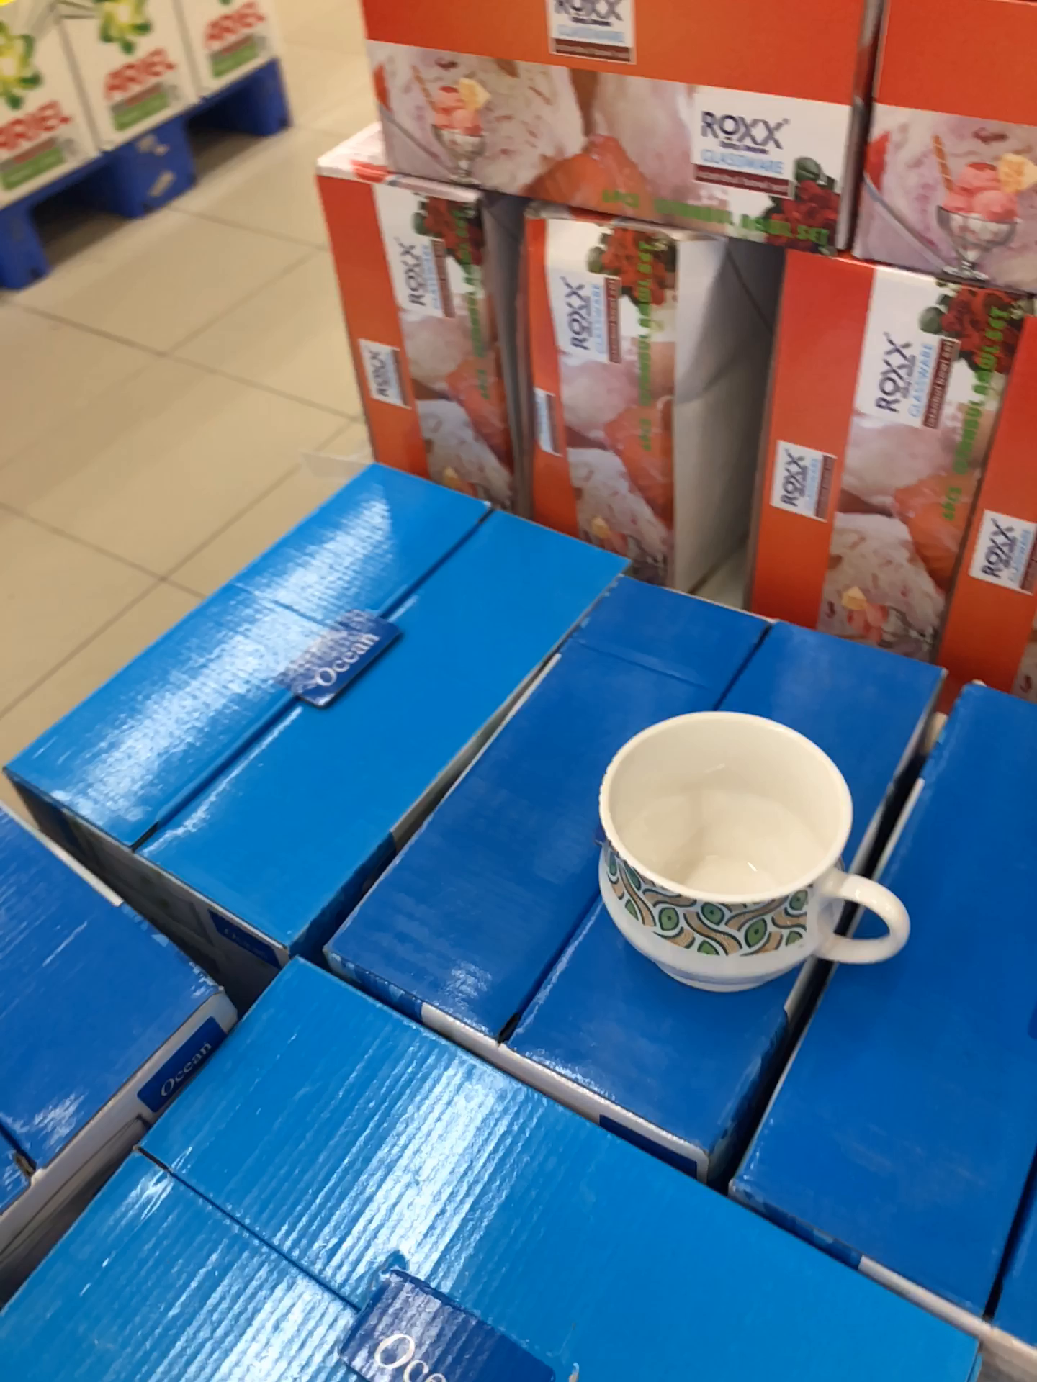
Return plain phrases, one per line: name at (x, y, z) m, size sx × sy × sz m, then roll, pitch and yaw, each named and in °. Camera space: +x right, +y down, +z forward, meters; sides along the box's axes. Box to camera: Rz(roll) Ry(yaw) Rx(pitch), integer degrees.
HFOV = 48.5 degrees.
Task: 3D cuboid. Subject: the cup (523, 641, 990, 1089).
cup at (0.064, 0.045, 0.322) m, size 0.100 × 0.060 × 0.070 m, roll 21°, pitch 53°, yaw 24°
